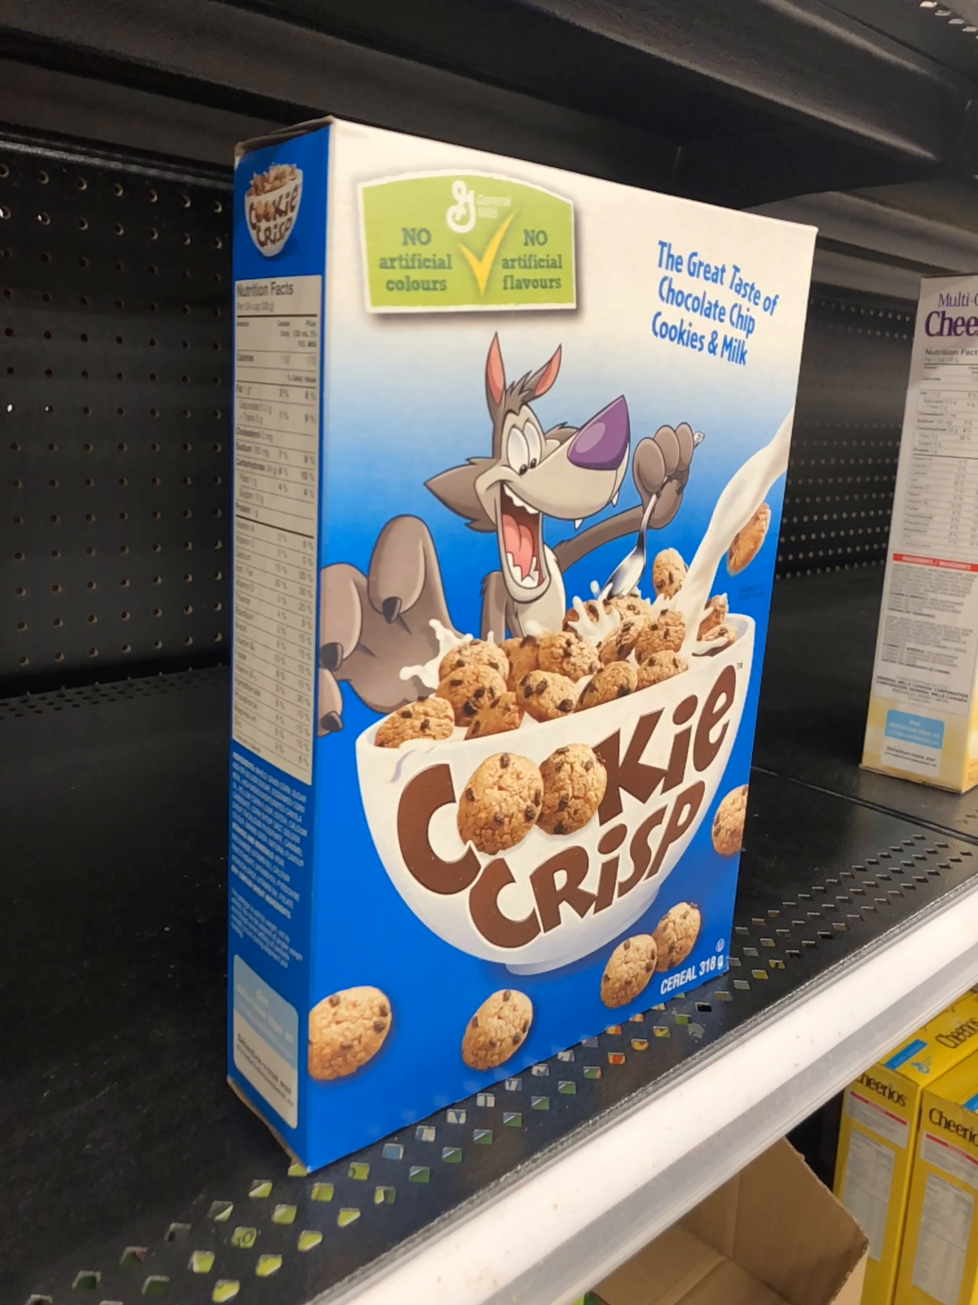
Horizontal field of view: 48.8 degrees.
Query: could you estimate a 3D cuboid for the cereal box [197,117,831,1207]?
[{"bbox_3d":[0.013,0.000,0.354,0.200,0.279,0.060,-8,17,-40],"label":"cereal box"}]
